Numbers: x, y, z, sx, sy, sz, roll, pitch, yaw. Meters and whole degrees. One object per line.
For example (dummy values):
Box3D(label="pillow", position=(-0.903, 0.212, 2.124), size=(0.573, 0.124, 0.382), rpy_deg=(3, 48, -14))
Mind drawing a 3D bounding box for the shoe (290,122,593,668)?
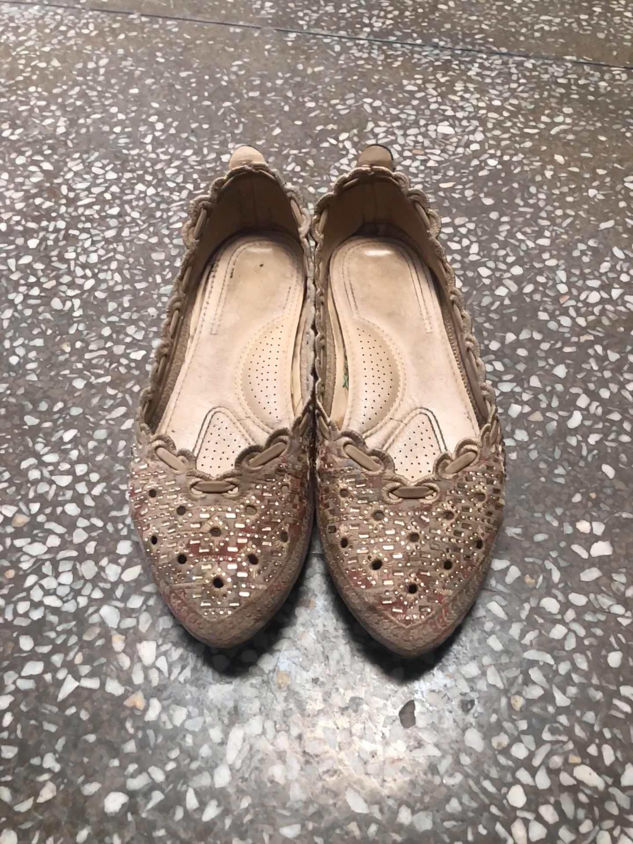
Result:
Box3D(label="shoe", position=(0.038, -0.029, 0.324), size=(0.089, 0.068, 0.255), rpy_deg=(-3, 56, -1))

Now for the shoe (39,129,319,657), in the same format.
Box3D(label="shoe", position=(-0.045, -0.029, 0.329), size=(0.089, 0.068, 0.255), rpy_deg=(0, 56, 1))
